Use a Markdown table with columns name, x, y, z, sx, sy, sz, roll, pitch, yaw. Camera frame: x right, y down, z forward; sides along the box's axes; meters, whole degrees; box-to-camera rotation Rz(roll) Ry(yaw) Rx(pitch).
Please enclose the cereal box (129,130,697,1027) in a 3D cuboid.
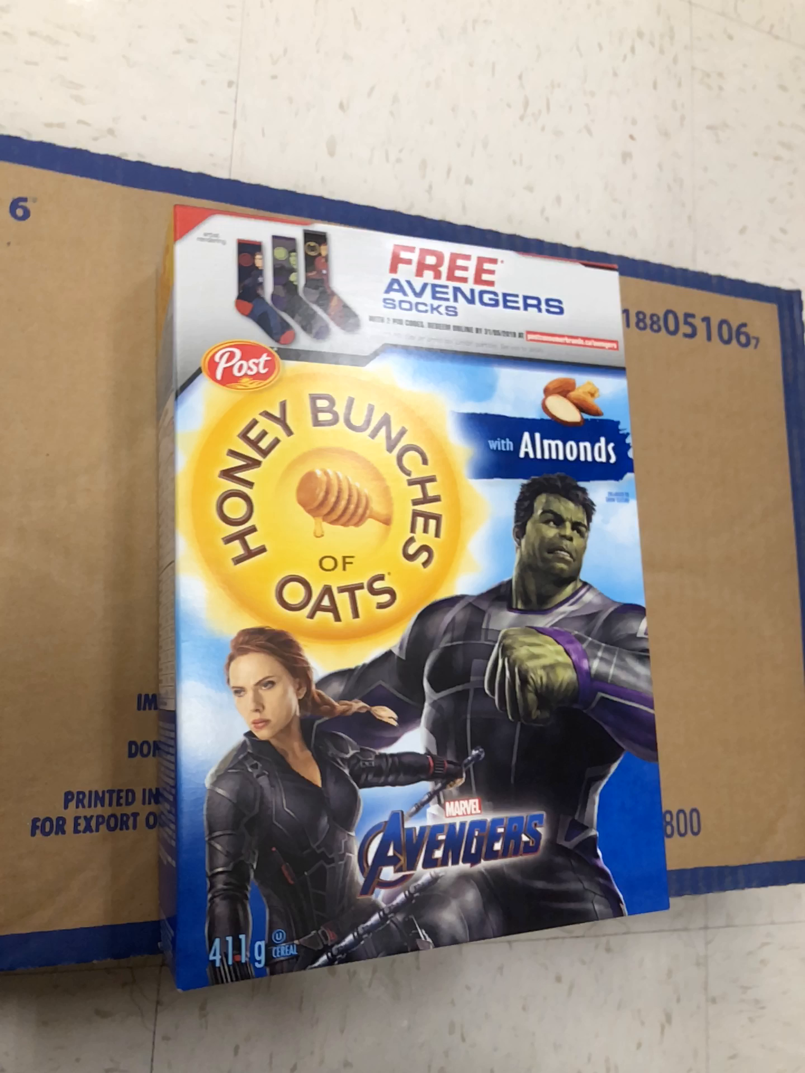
| name | x | y | z | sx | sy | sz | roll | pitch | yaw |
| --- | --- | --- | --- | --- | --- | --- | --- | --- | --- |
| cereal box | -0.001 | 0.009 | 0.355 | 0.200 | 0.070 | 0.290 | 0 | 81 | -21 |
